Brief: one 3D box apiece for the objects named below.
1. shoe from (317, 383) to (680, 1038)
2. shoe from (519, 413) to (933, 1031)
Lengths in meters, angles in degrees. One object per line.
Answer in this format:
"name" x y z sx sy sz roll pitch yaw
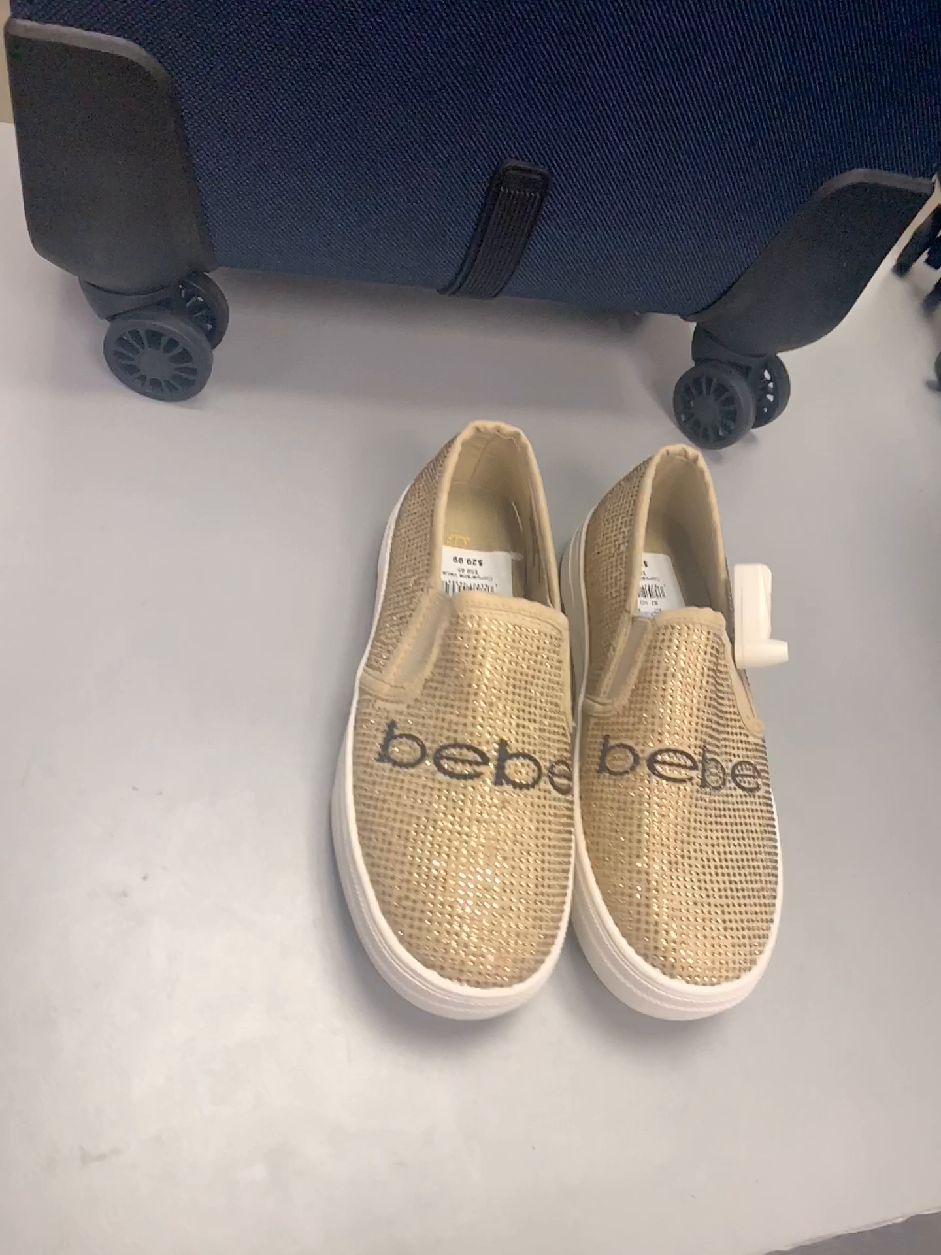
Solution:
"shoe" 0.000 0.026 0.360 0.093 0.086 0.223 6 56 -13
"shoe" 0.083 0.033 0.382 0.093 0.086 0.223 6 56 -13
